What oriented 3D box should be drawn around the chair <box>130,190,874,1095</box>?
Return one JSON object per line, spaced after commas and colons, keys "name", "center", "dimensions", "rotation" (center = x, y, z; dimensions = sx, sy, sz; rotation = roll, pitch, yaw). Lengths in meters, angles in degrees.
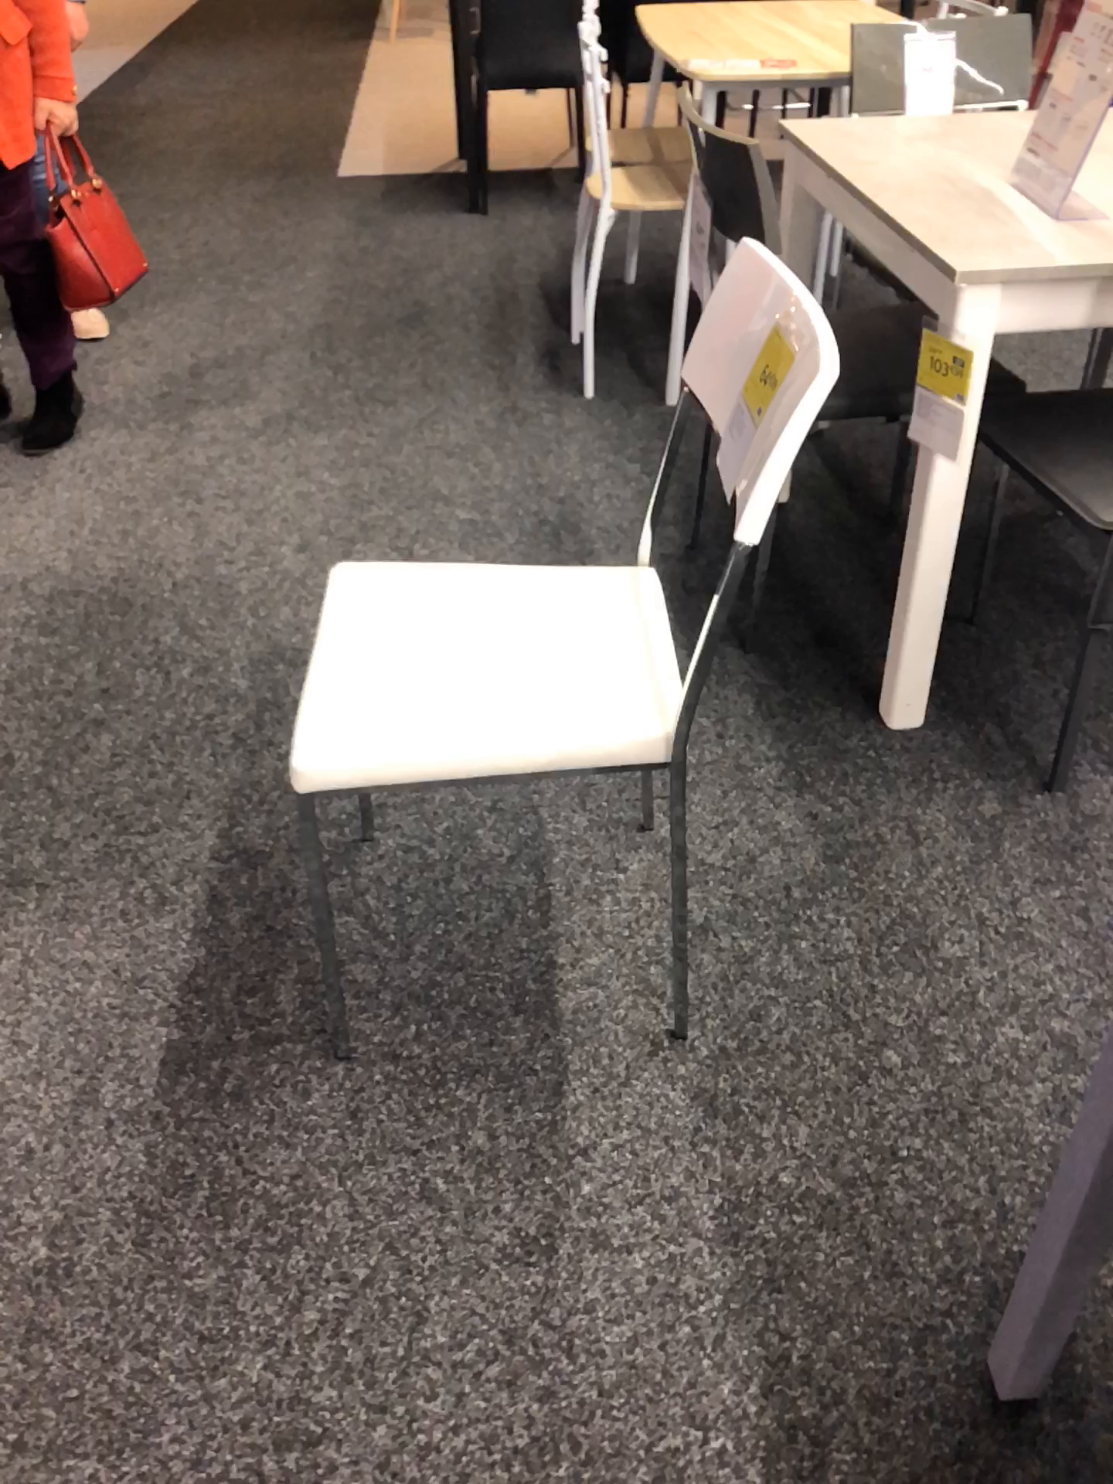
{"name": "chair", "center": [-0.045, -0.096, 1.332], "dimensions": [0.540, 0.815, 0.503], "rotation": [-3, 37, -2]}
